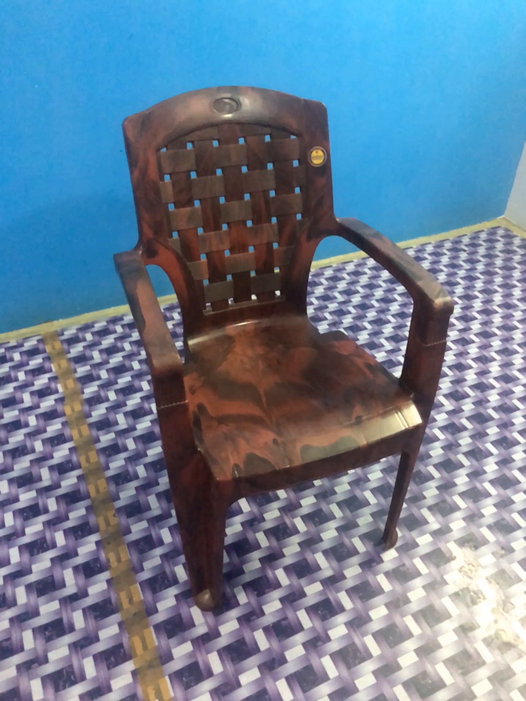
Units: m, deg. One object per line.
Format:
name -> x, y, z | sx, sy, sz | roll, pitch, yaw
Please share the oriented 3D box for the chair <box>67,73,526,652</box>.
chair -> 0.031, 0.001, 1.129 | 0.591, 0.845, 0.592 | -12, 40, -18
